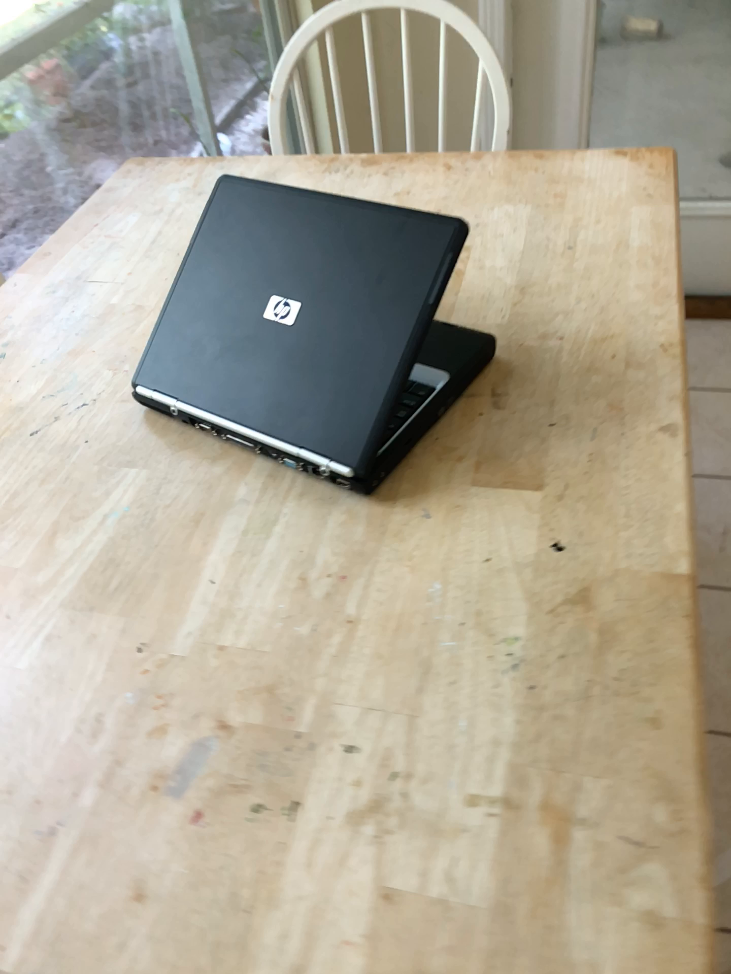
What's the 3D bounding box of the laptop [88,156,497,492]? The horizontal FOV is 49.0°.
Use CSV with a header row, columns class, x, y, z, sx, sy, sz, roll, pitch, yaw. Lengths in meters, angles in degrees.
class,x,y,z,sx,sy,sz,roll,pitch,yaw
laptop,-0.063,-0.186,0.832,0.306,0.162,0.256,22,53,28
